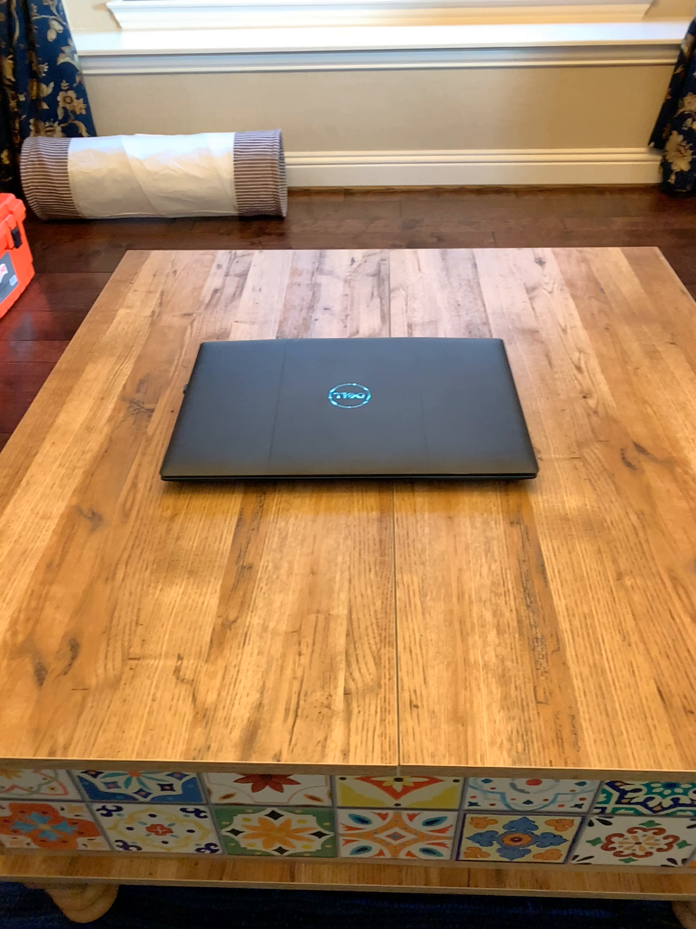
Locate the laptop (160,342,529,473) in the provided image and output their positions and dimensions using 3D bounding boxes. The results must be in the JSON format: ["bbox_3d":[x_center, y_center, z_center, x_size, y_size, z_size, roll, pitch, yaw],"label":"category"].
[{"bbox_3d":[-0.005,-0.068,0.752,0.346,0.001,0.228,0,41,1],"label":"laptop"}]
